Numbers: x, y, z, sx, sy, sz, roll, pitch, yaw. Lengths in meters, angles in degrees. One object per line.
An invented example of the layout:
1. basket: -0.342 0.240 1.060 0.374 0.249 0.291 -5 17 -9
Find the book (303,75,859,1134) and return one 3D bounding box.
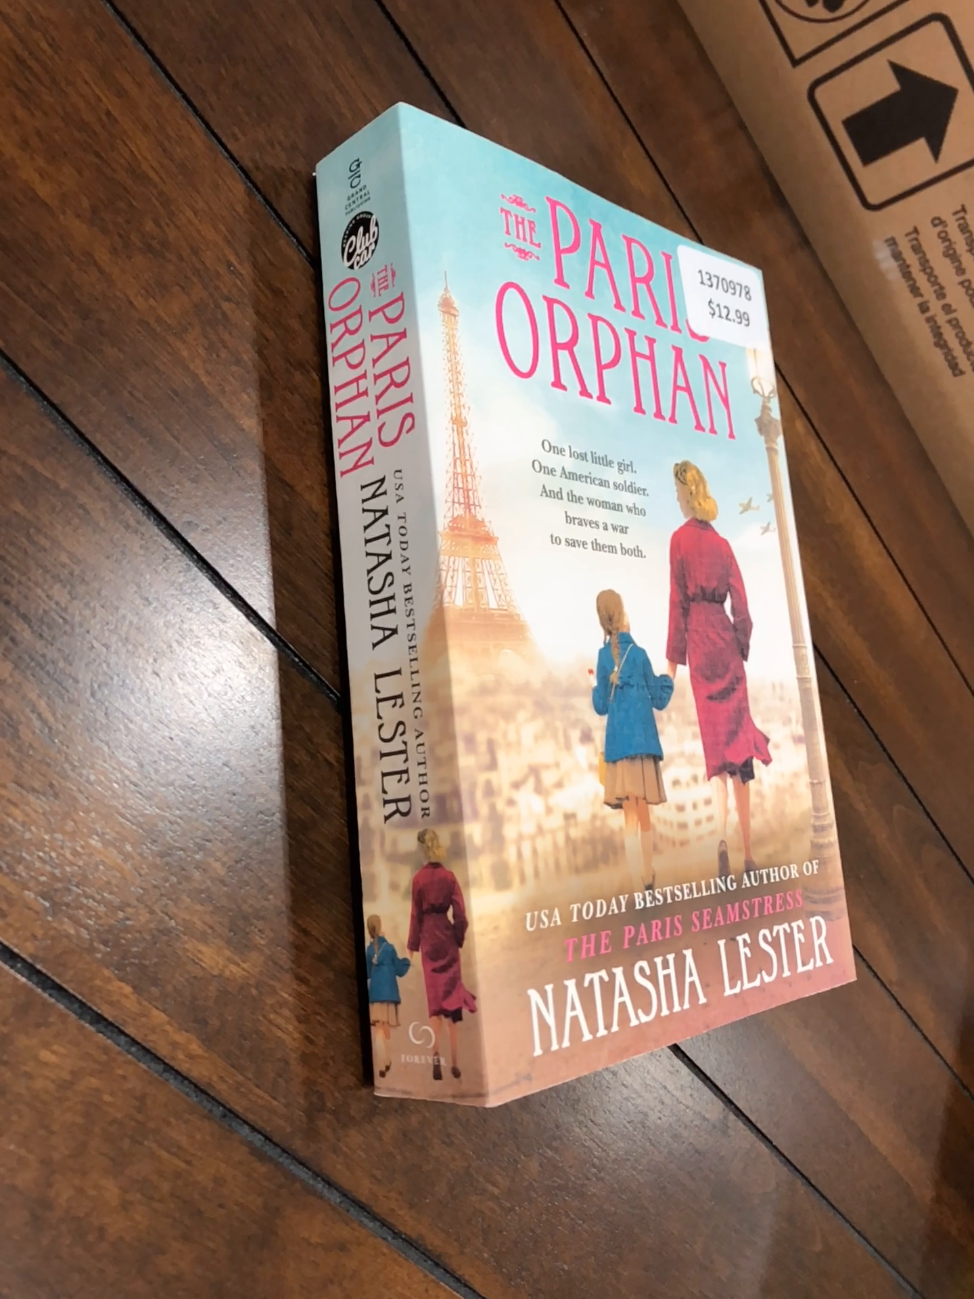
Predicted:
1. book: 0.027 -0.009 0.258 0.135 0.035 0.198 4 78 -43
